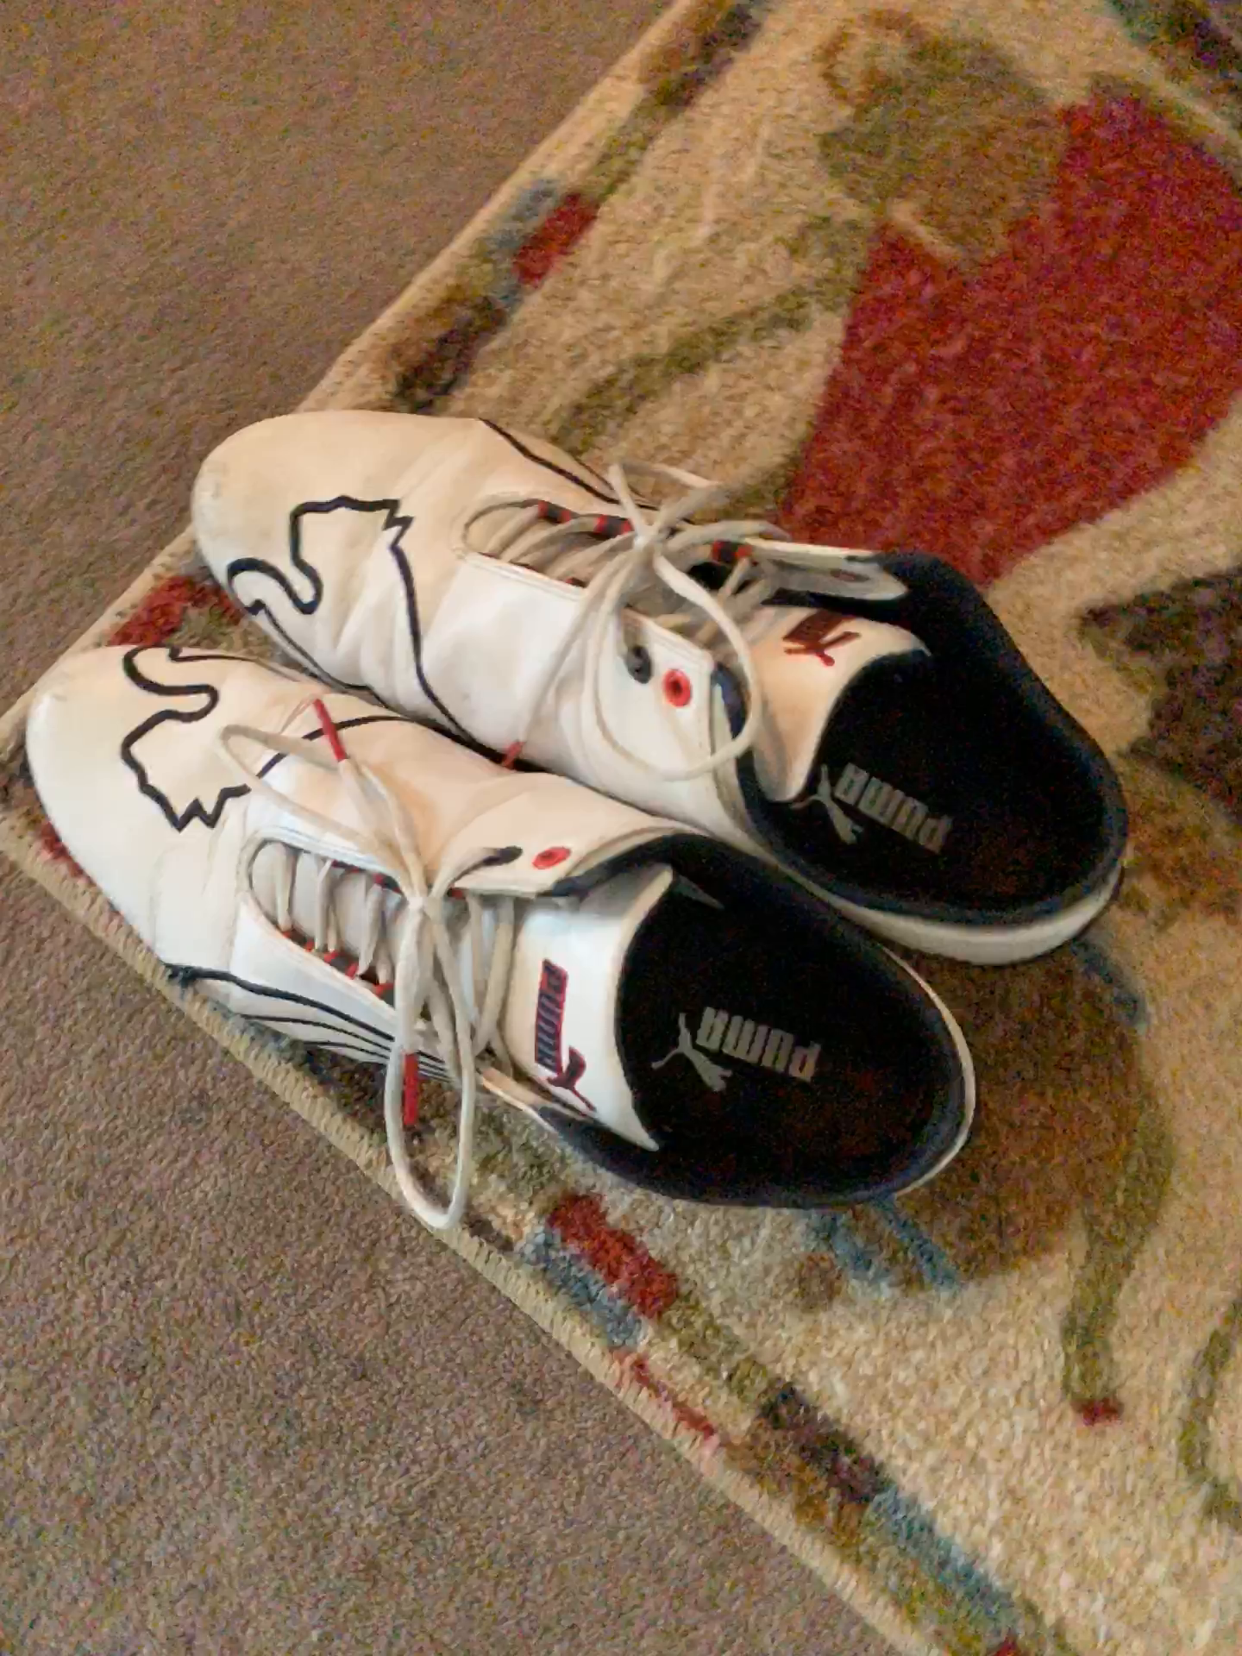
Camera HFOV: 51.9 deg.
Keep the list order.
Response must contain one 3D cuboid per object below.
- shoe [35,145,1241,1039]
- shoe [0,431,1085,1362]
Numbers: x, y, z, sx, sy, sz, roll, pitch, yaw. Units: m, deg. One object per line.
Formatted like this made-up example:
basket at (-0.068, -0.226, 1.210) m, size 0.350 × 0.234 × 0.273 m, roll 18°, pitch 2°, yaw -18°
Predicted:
shoe at (0.009, -0.055, 0.358) m, size 0.290 × 0.090 × 0.100 m, roll 27°, pitch 82°, yaw -1°
shoe at (-0.041, 0.020, 0.353) m, size 0.290 × 0.100 × 0.100 m, roll 27°, pitch 82°, yaw -1°
